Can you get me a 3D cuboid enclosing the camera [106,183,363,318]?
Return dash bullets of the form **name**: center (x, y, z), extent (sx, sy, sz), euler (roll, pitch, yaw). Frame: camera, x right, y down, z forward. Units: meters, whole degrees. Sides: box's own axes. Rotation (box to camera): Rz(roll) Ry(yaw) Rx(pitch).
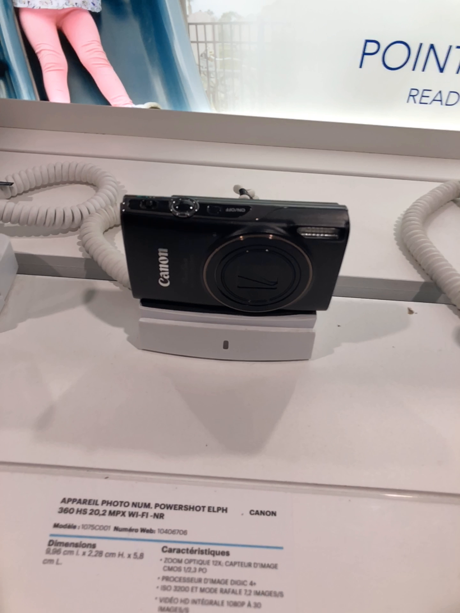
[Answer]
- **camera**: center (0.001, -0.026, 0.253), extent (0.113, 0.057, 0.026), euler (3, 43, -1)
